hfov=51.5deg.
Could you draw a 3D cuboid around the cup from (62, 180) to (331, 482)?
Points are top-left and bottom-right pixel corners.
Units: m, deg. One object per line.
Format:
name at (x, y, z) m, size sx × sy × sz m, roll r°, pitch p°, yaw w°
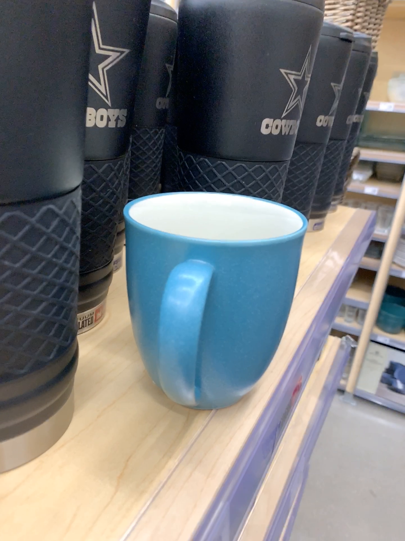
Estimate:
cup at (0.006, 0.013, 0.208) m, size 0.089 × 0.084 × 0.116 m, roll 12°, pitch 24°, yaw 15°
